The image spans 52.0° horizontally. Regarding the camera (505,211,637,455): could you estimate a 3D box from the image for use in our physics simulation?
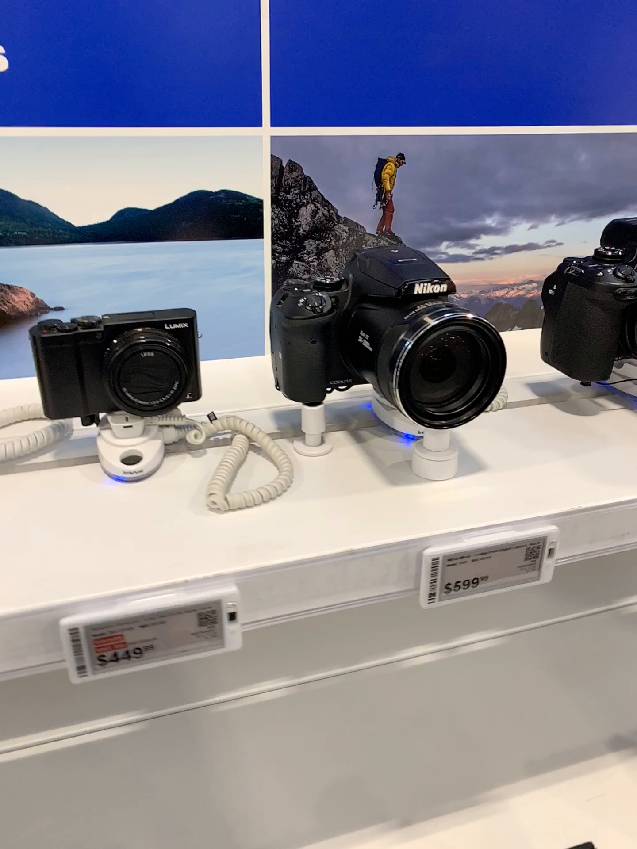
[{"bbox_3d":[0.280,-0.087,0.497,0.160,0.109,0.221,-9,27,-17],"label":"camera"}]

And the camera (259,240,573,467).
[{"bbox_3d":[0.056,-0.061,0.461,0.160,0.099,0.151,-8,26,-16],"label":"camera"}]

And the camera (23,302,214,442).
[{"bbox_3d":[-0.132,-0.038,0.444,0.110,0.070,0.050,-8,26,-16],"label":"camera"}]
